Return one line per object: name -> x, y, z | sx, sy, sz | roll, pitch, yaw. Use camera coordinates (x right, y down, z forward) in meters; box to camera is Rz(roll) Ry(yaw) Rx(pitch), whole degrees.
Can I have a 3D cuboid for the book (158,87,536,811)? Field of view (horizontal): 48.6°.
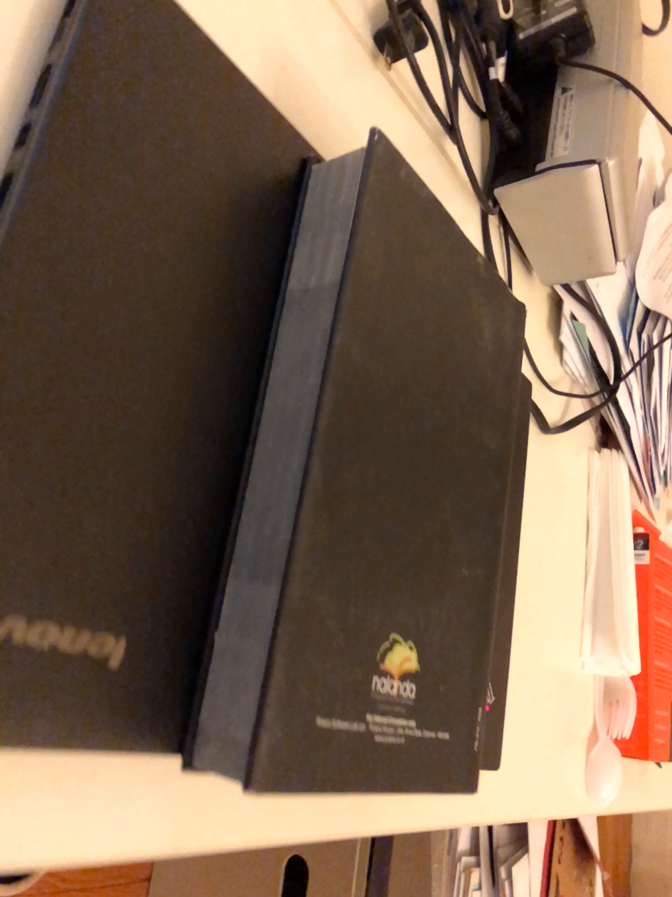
book -> 0.025, 0.009, 0.290 | 0.151, 0.040, 0.230 | 30, 61, -48
